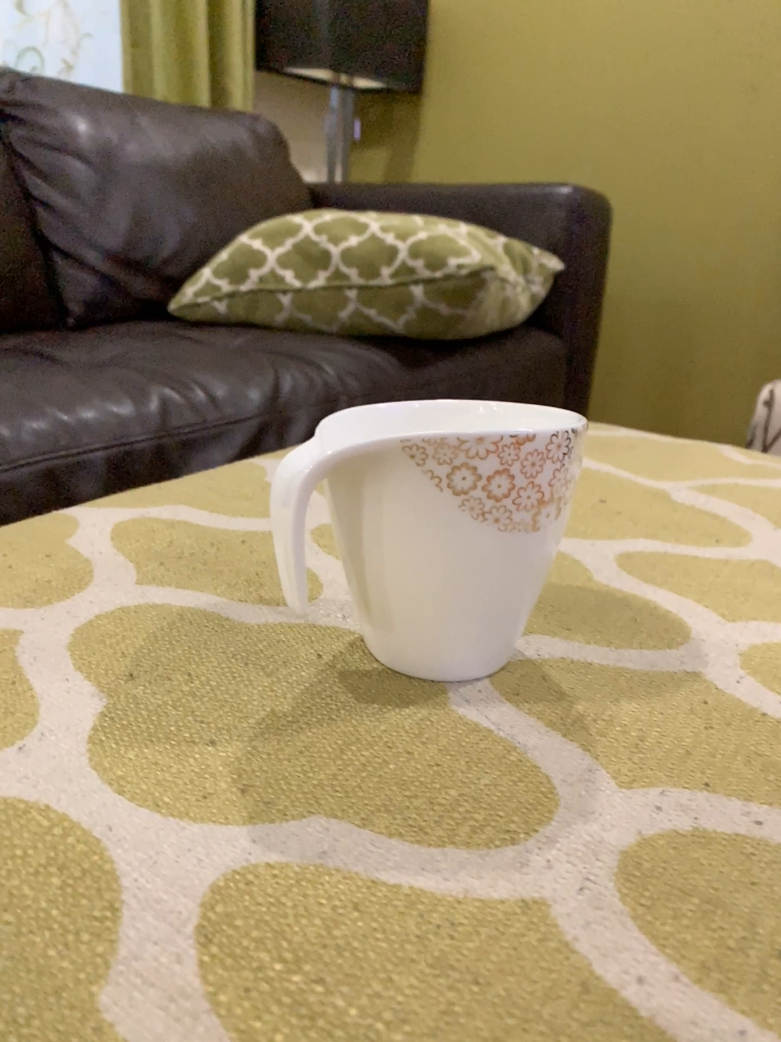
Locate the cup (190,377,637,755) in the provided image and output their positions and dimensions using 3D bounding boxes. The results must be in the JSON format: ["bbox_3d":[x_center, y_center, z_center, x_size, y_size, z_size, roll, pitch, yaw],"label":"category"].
[{"bbox_3d":[0.003,0.003,0.265,0.109,0.079,0.089,-9,22,-30],"label":"cup"}]
